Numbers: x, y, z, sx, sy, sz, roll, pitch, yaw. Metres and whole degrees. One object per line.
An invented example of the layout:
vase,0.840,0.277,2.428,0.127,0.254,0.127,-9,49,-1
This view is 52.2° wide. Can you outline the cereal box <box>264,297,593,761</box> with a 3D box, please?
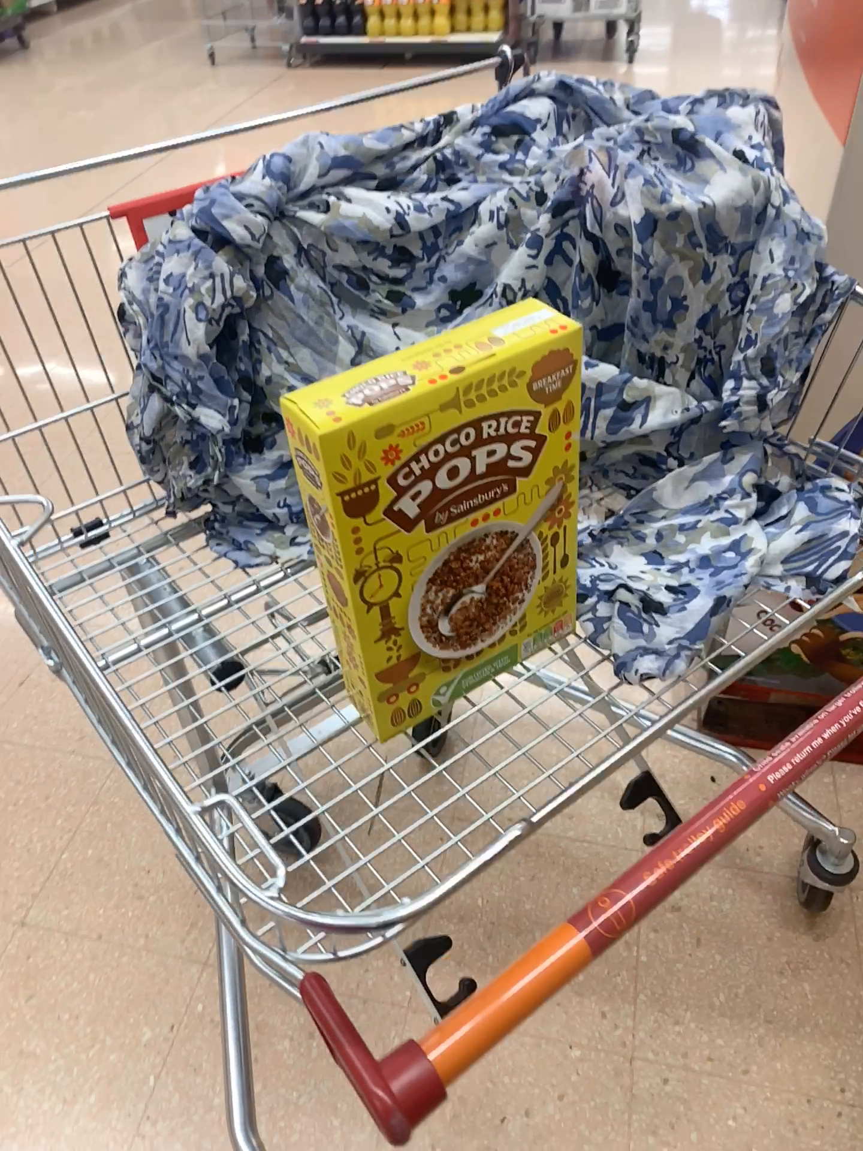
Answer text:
cereal box,0.012,-0.027,0.612,0.201,0.267,0.060,-27,43,-25
